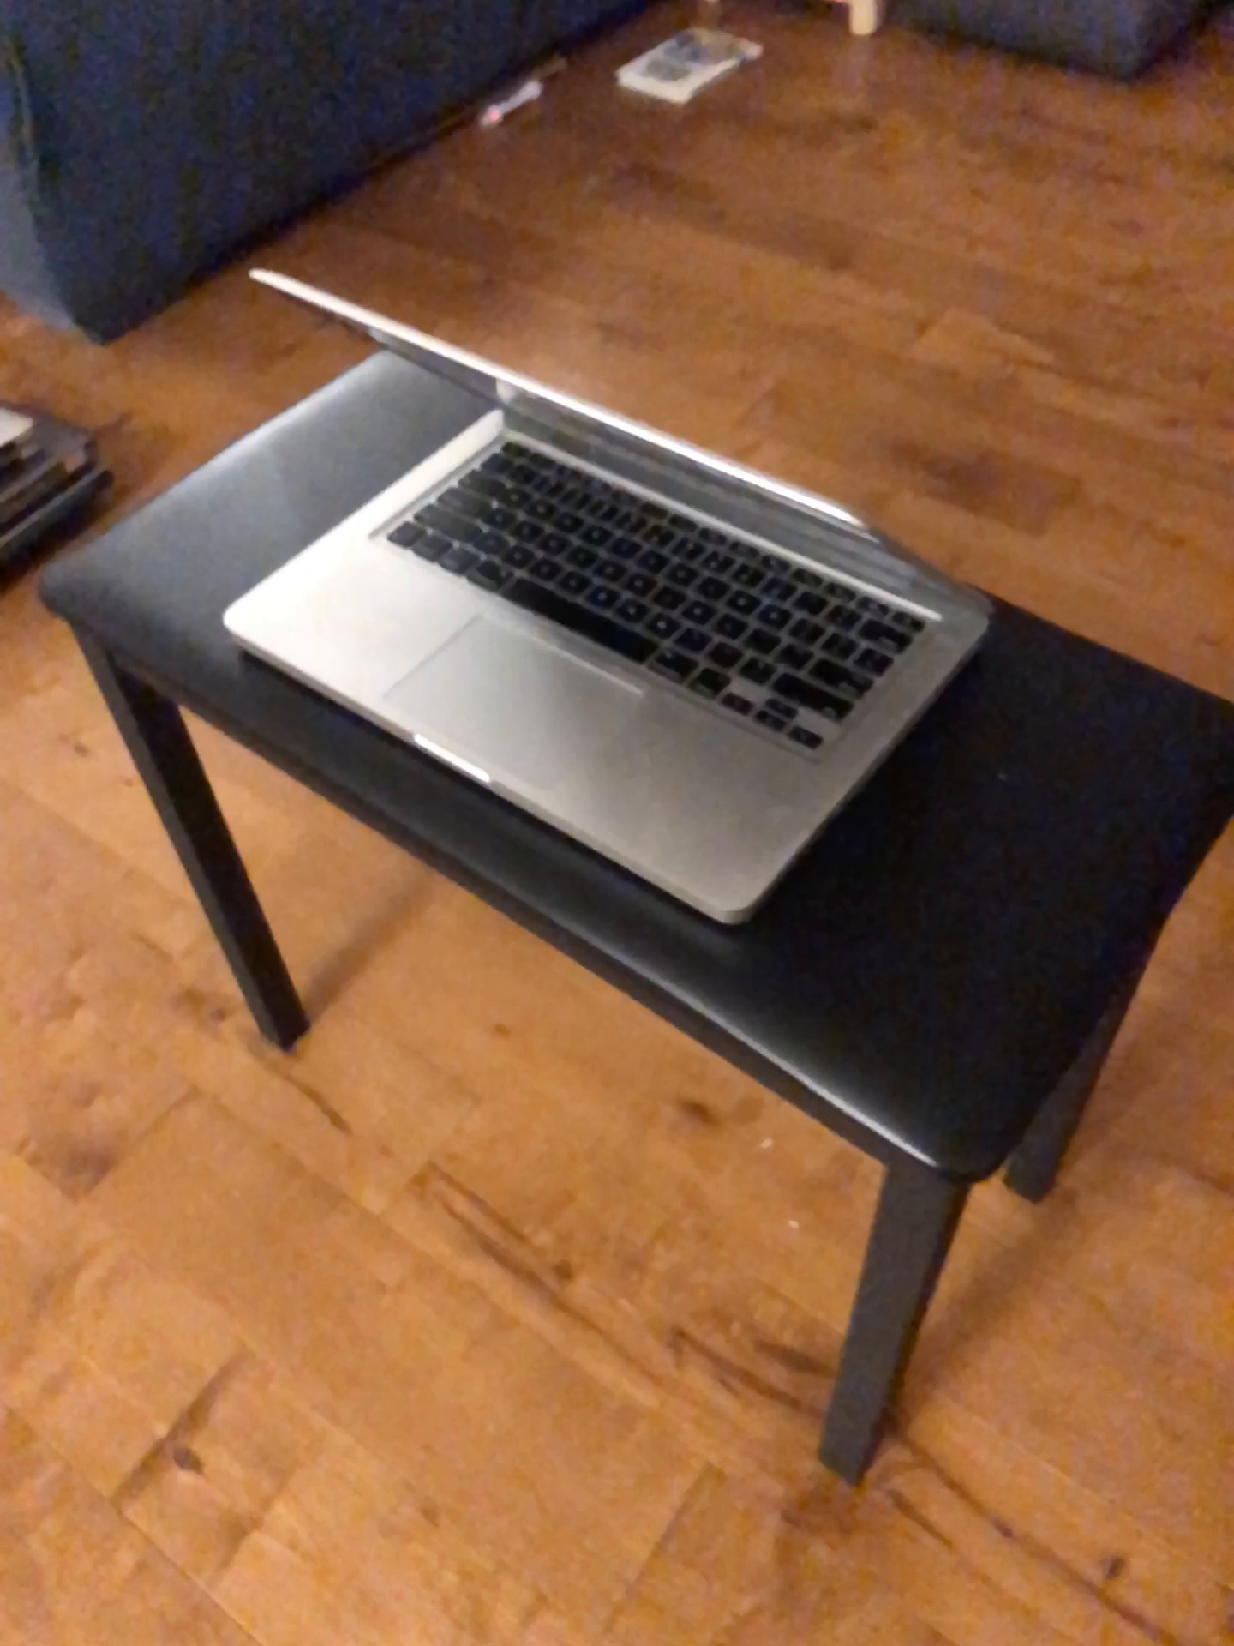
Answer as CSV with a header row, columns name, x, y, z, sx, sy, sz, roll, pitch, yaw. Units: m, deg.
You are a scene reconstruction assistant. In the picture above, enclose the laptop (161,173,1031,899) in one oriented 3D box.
name,x,y,z,sx,sy,sz,roll,pitch,yaw
laptop,-0.014,-0.149,0.618,0.310,0.144,0.209,29,58,28
